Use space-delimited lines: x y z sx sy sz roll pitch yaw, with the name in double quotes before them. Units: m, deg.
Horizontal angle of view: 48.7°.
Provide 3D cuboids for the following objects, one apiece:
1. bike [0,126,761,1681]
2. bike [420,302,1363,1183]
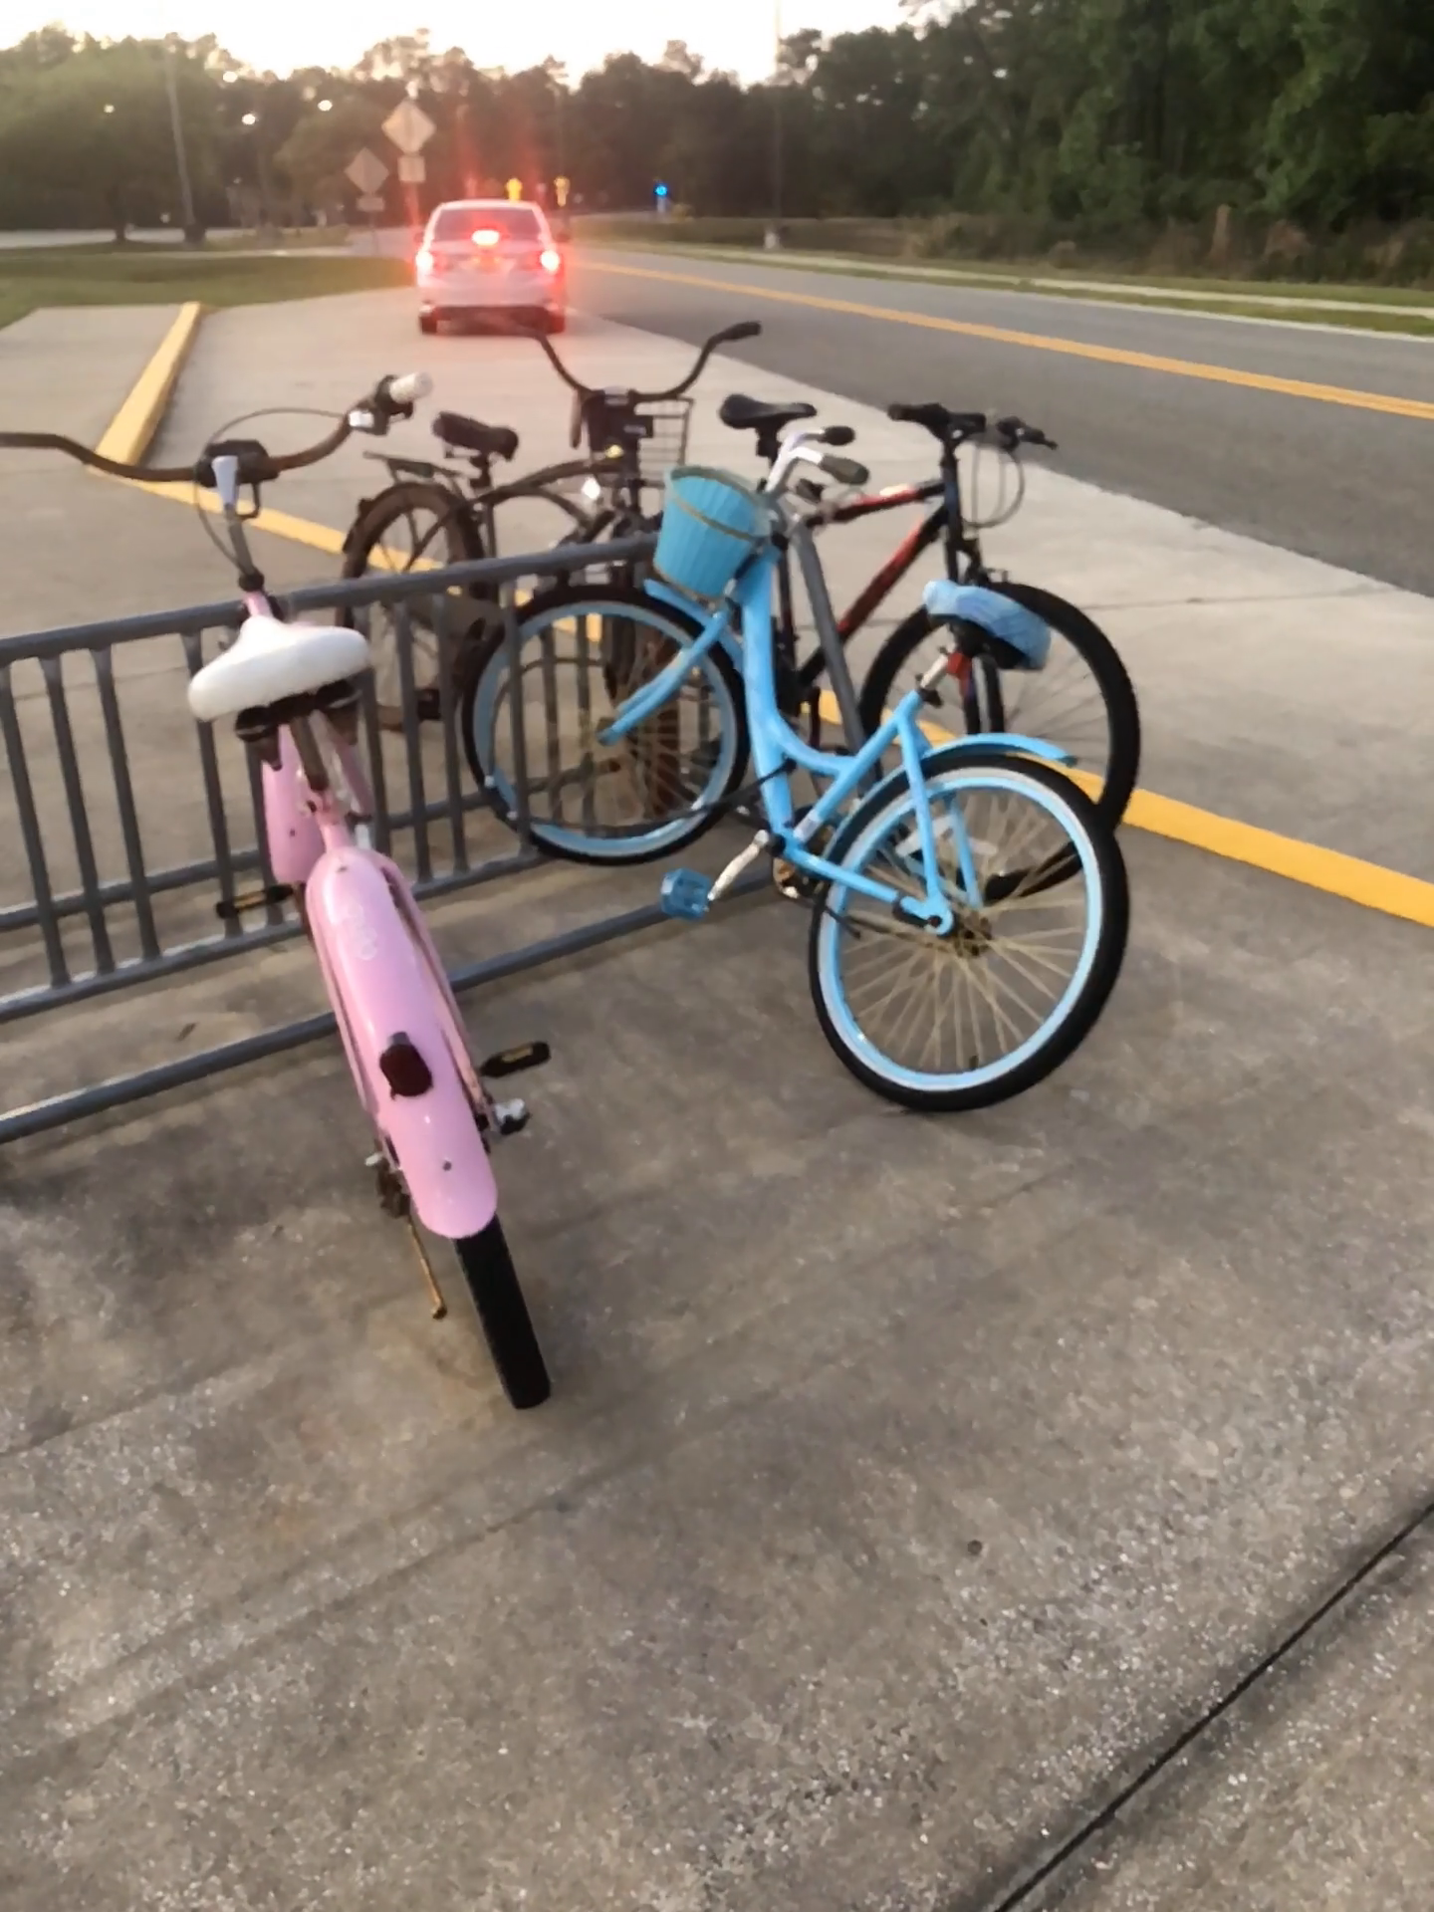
"bike" -0.560 -0.313 2.102 0.772 1.146 1.615 -8 33 -16
"bike" 0.223 -0.474 2.781 0.585 0.954 1.421 -24 40 -40
